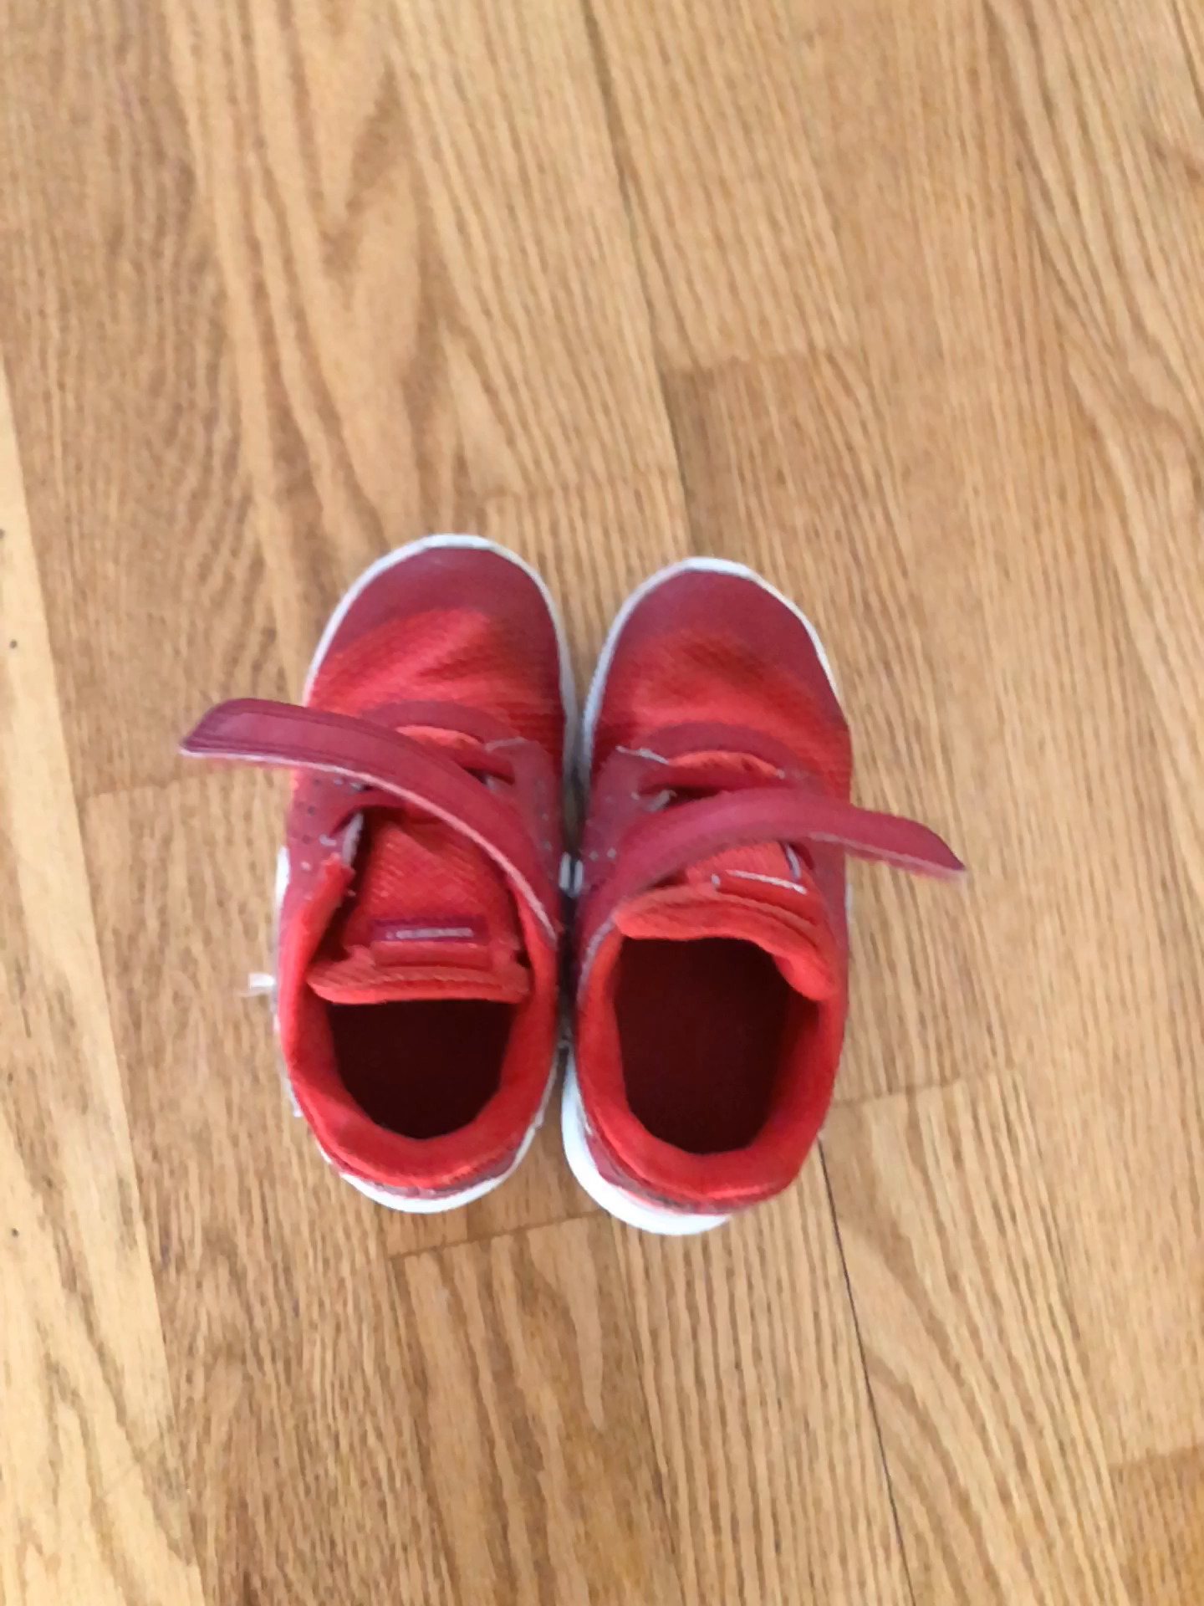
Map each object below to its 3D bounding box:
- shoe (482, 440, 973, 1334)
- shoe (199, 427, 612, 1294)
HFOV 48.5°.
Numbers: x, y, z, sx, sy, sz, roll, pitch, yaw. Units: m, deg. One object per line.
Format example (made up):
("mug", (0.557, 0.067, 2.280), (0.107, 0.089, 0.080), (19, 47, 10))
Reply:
("shoe", (0.026, 0.019, 0.311), (0.088, 0.069, 0.177), (6, 83, -4))
("shoe", (-0.041, 0.013, 0.307), (0.081, 0.069, 0.175), (1, 84, -5))
